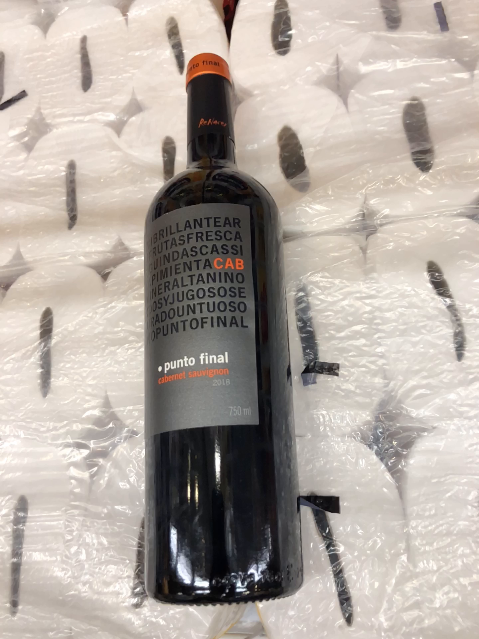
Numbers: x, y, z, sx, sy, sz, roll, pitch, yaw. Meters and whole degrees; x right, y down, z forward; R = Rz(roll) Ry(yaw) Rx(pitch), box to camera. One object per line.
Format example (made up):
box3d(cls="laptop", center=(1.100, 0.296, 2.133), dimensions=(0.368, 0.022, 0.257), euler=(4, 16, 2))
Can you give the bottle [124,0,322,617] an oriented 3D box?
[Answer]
box3d(cls="bottle", center=(-0.010, -0.027, 0.278), dimensions=(0.070, 0.060, 0.311), euler=(-7, 68, 10))
